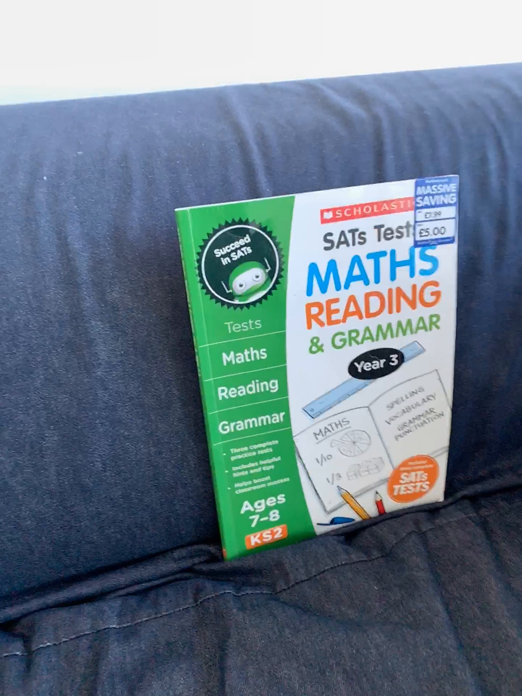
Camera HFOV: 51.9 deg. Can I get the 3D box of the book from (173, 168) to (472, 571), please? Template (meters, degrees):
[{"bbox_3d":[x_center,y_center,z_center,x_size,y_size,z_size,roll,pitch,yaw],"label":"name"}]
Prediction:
[{"bbox_3d":[0.058,0.026,0.419,0.209,0.293,0.022,-11,24,-14],"label":"book"}]
